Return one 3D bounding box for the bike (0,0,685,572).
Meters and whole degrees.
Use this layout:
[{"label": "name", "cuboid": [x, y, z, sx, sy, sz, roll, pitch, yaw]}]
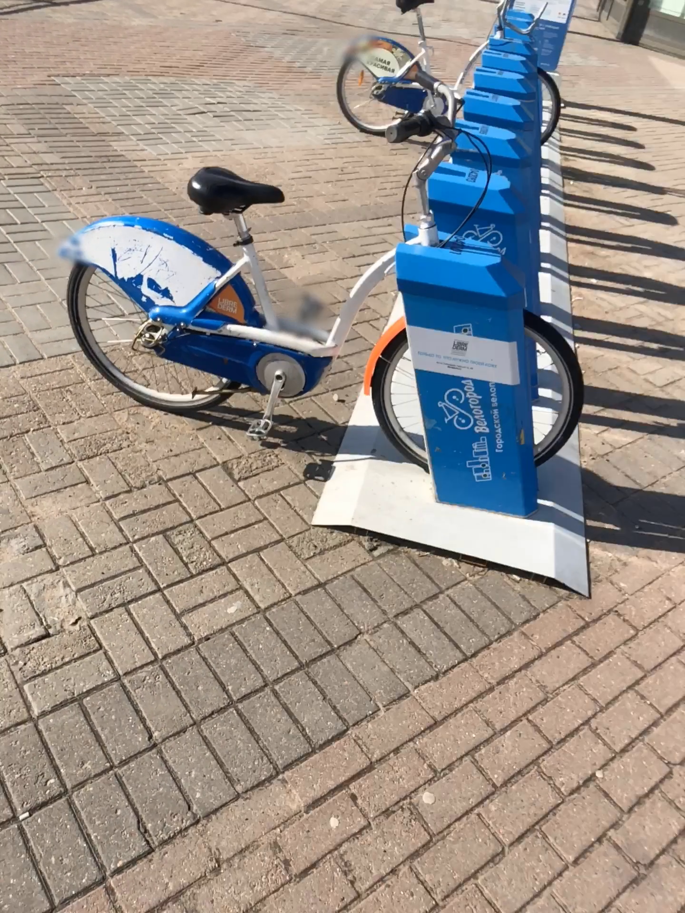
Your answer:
[{"label": "bike", "cuboid": [-0.035, -0.507, 2.170, 1.674, 1.233, 0.685, 13, 36, 7]}]
